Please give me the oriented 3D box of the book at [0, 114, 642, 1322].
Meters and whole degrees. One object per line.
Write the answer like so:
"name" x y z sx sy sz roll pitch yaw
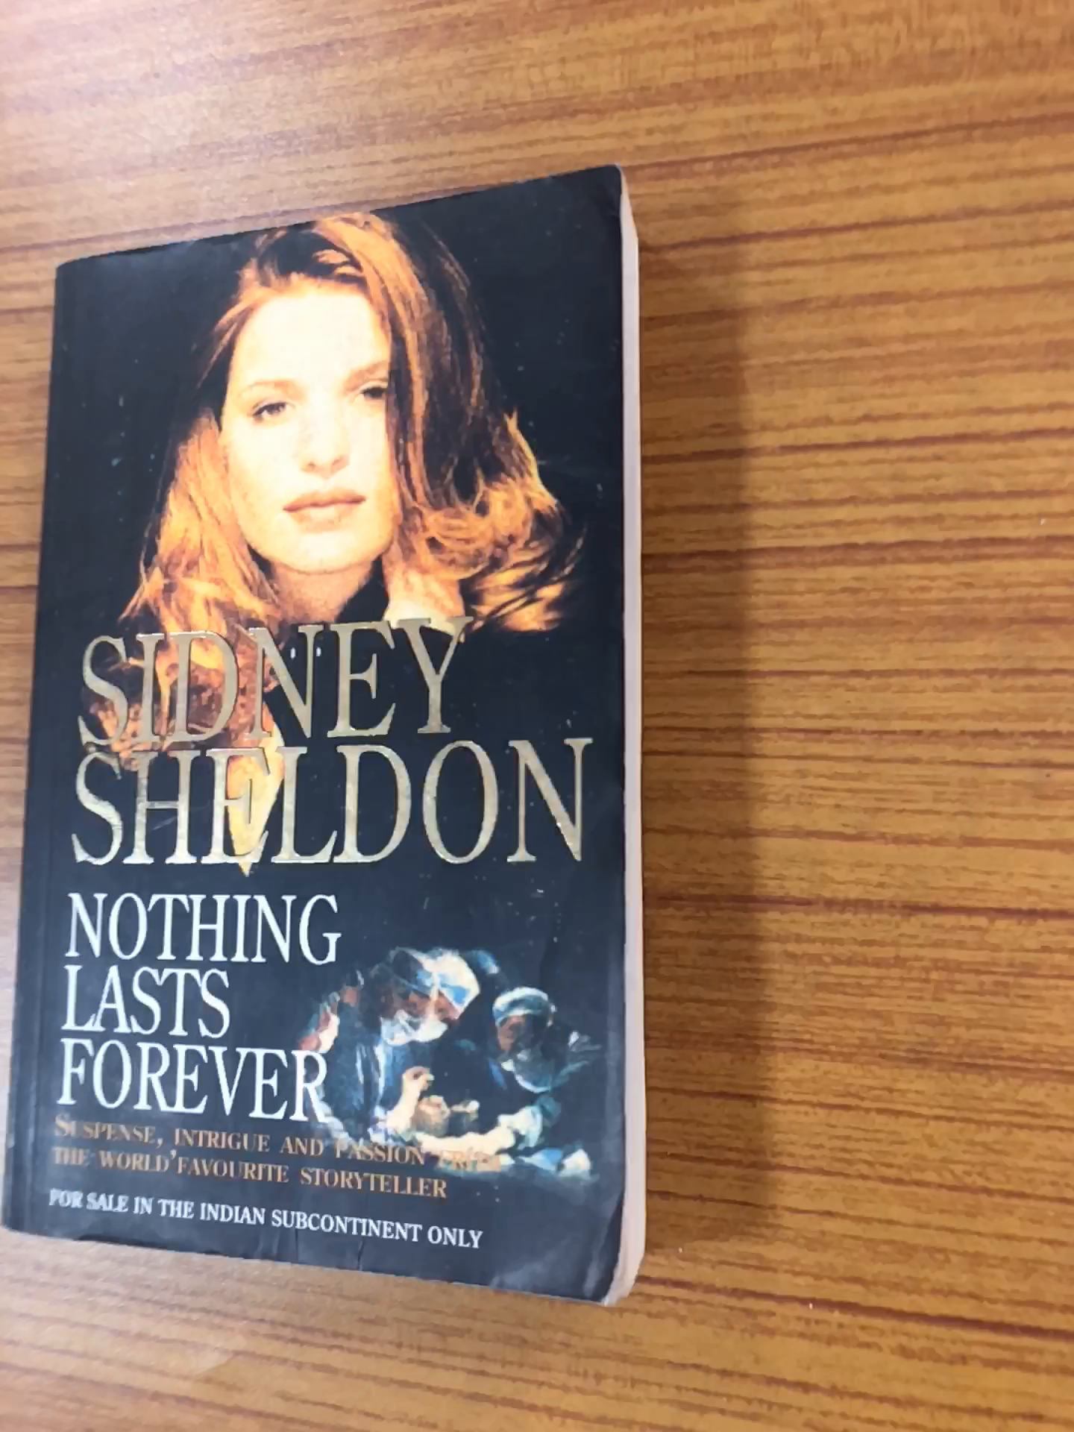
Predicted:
"book" -0.046 0.000 0.200 0.120 0.030 0.170 -2 83 17
